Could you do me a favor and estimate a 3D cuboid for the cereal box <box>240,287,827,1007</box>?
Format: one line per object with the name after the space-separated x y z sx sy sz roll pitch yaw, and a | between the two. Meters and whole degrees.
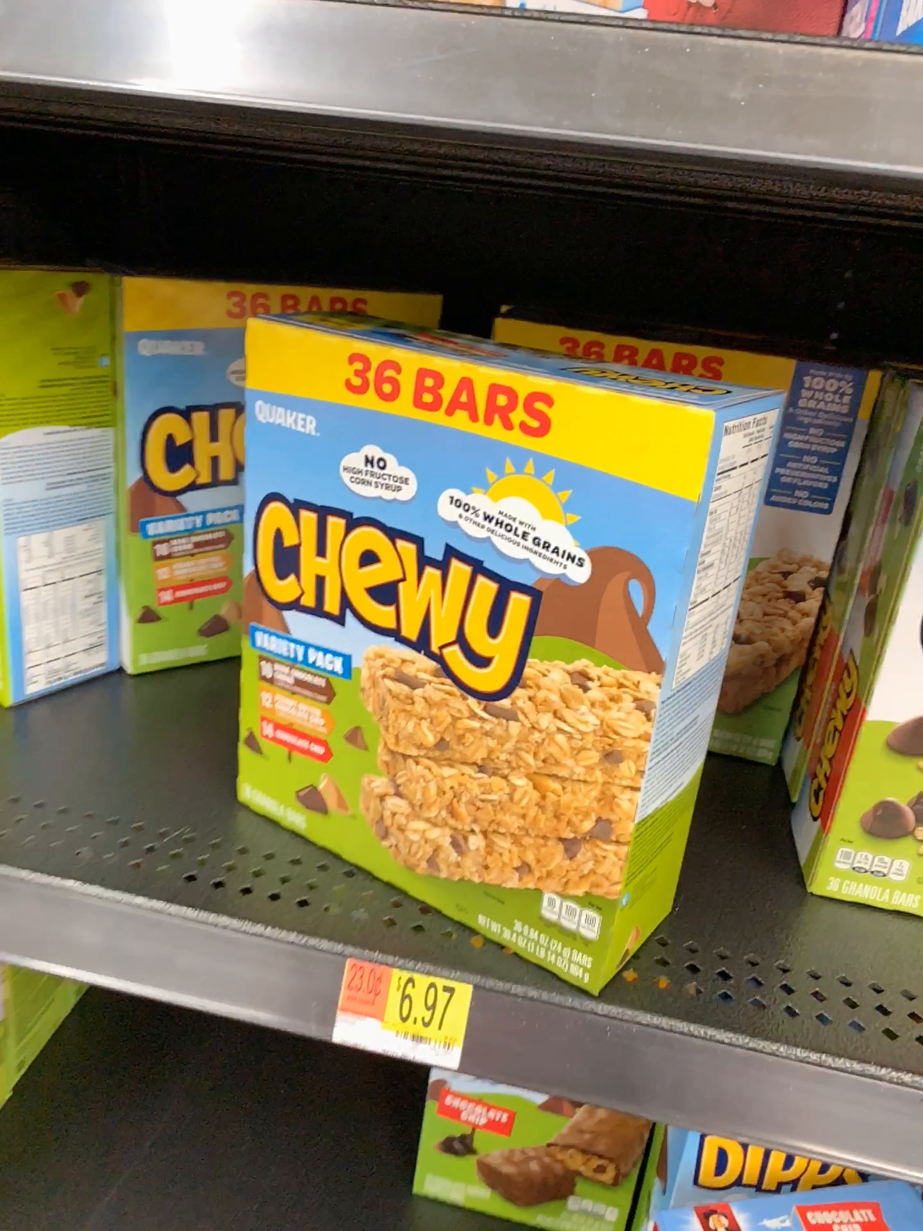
0.010 0.000 0.388 0.200 0.229 0.070 20 25 29 | cereal box
